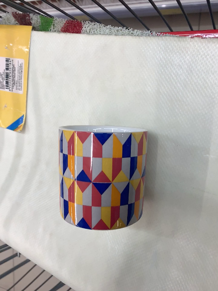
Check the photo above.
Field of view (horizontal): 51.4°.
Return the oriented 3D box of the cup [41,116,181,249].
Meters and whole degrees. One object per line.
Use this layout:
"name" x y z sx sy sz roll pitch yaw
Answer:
"cup" -0.006 0.017 0.203 0.100 0.080 0.080 17 108 55
